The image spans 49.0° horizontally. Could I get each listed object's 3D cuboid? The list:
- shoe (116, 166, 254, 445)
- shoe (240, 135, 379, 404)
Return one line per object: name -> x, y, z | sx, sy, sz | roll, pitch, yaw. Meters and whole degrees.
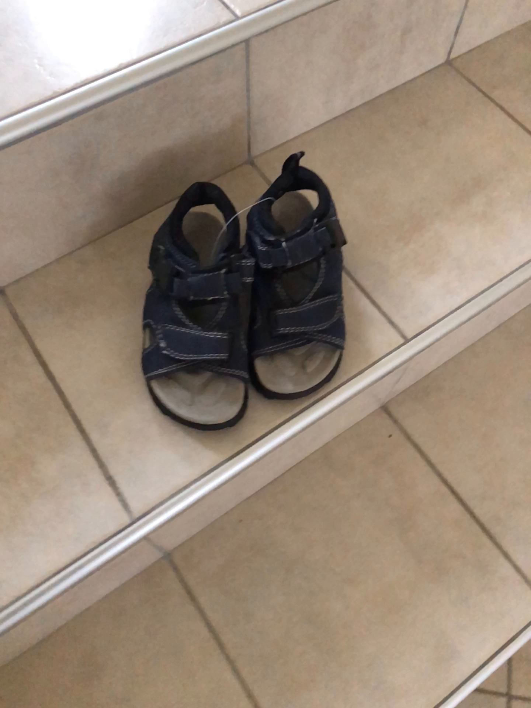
shoe -> -0.065, -0.046, 0.516 | 0.100, 0.090, 0.231 | -2, 64, -2
shoe -> 0.031, -0.080, 0.535 | 0.100, 0.090, 0.231 | -2, 64, -2
